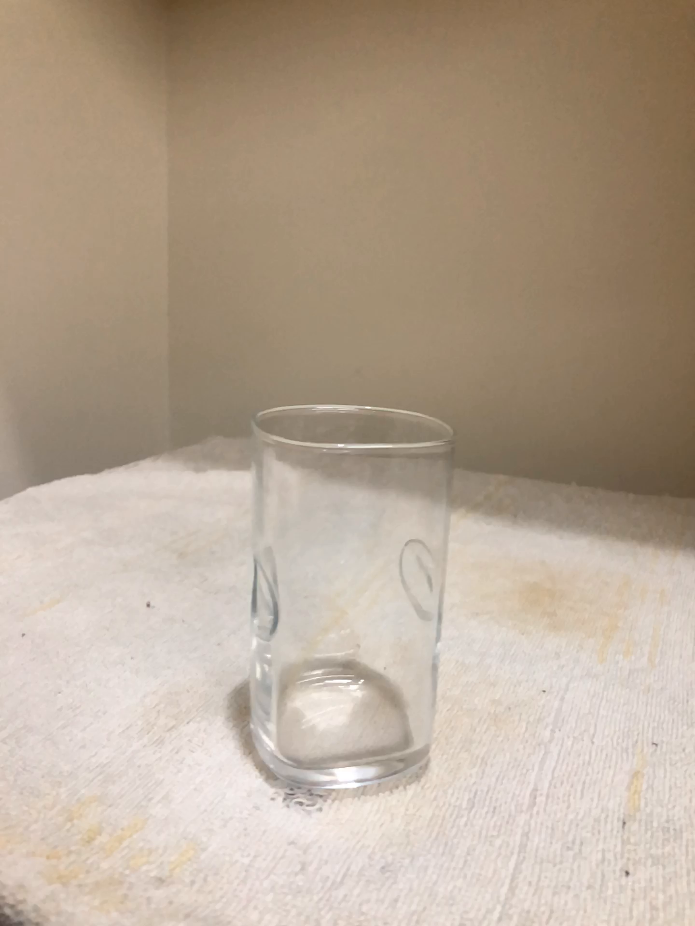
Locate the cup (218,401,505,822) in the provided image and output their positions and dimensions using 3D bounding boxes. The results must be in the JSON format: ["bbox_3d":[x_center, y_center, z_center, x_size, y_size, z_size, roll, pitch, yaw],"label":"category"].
[{"bbox_3d":[-0.002,0.040,0.251,0.070,0.110,0.070,2,12,-1],"label":"cup"}]
